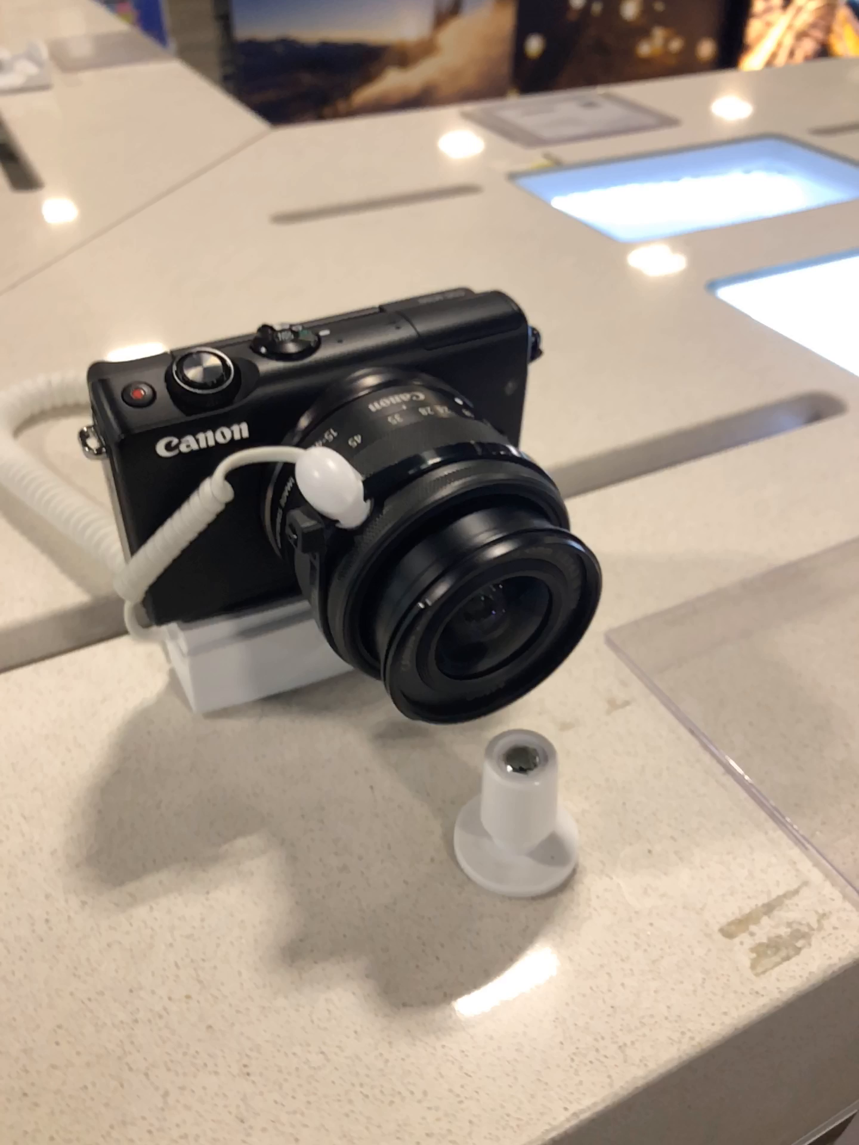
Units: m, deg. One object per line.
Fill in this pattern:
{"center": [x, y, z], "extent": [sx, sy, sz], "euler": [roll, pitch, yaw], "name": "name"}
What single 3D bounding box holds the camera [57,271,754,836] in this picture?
{"center": [-0.009, -0.014, 0.222], "extent": [0.120, 0.060, 0.091], "euler": [-18, 42, -20], "name": "camera"}
